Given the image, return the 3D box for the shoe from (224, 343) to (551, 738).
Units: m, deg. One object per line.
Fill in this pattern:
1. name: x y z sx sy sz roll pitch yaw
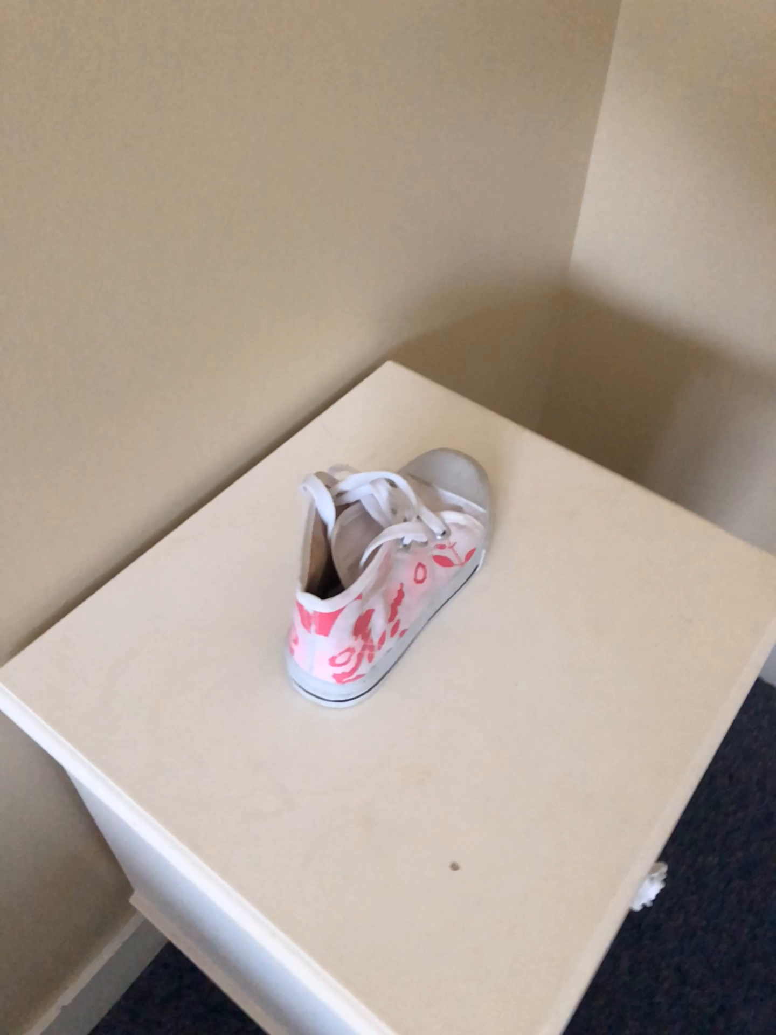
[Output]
1. shoe: 0.007 0.005 0.477 0.080 0.099 0.191 25 52 20
